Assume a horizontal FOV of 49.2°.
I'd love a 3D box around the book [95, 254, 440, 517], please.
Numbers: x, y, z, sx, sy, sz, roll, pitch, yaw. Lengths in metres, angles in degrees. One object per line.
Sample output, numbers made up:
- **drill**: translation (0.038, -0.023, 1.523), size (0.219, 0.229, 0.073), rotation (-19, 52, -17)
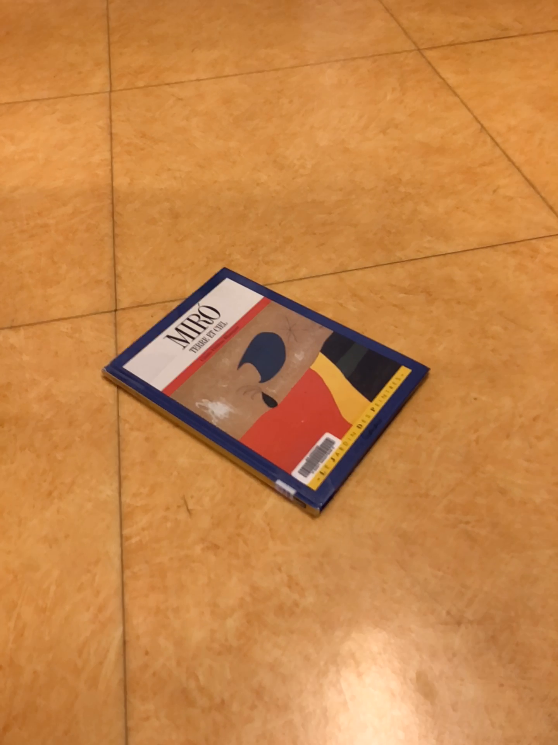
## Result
- **book**: translation (-0.013, -0.008, 0.539), size (0.245, 0.020, 0.178), rotation (29, 57, 26)
